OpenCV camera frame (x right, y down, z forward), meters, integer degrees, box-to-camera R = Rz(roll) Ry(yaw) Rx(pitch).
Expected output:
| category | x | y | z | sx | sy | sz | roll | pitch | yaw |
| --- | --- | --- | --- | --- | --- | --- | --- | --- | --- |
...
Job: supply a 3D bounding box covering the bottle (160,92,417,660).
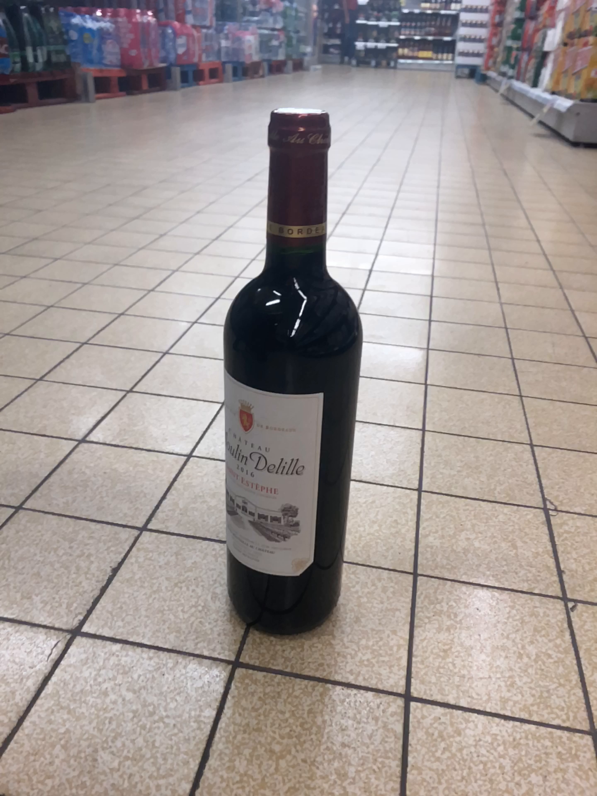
| category | x | y | z | sx | sy | sz | roll | pitch | yaw |
| --- | --- | --- | --- | --- | --- | --- | --- | --- | --- |
| bottle | -0.009 | -0.006 | 0.351 | 0.080 | 0.281 | 0.080 | 2 | 27 | -1 |
